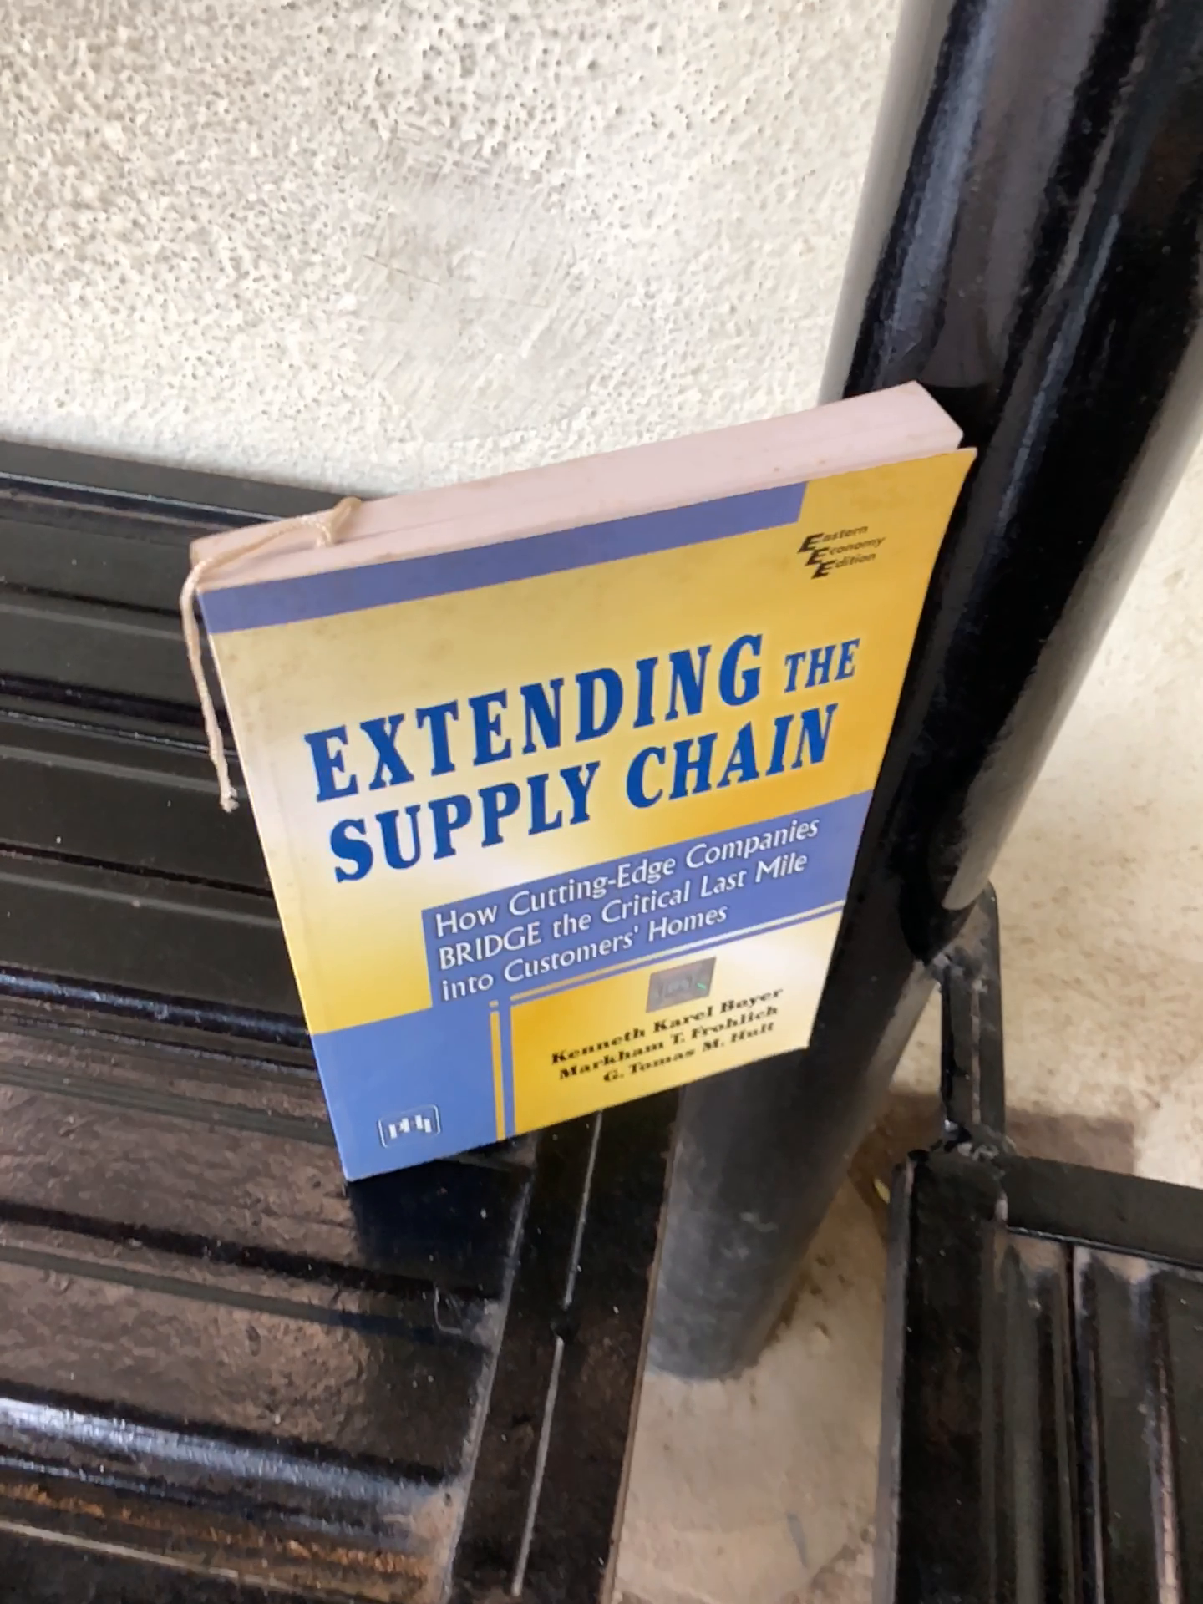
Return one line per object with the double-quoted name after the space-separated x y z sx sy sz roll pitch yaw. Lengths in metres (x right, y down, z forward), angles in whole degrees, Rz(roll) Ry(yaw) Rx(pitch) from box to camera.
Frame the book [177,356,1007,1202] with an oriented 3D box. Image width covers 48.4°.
-0.005 0.012 0.329 0.150 0.229 0.030 -12 50 -15 "book"
